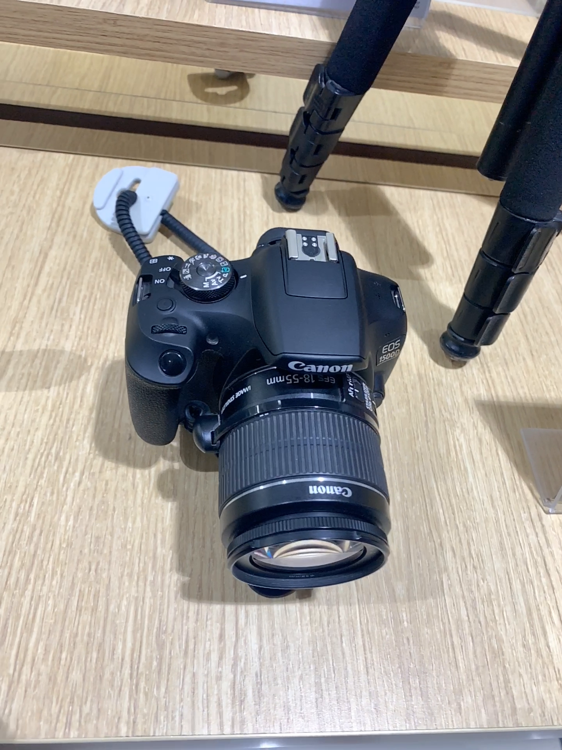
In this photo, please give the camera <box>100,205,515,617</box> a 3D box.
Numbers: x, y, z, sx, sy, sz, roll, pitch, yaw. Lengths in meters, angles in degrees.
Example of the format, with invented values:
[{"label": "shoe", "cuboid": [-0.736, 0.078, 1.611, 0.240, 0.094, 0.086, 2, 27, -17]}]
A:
[{"label": "camera", "cuboid": [0.000, 0.013, 0.243, 0.121, 0.088, 0.140, 2, 52, -9]}]
